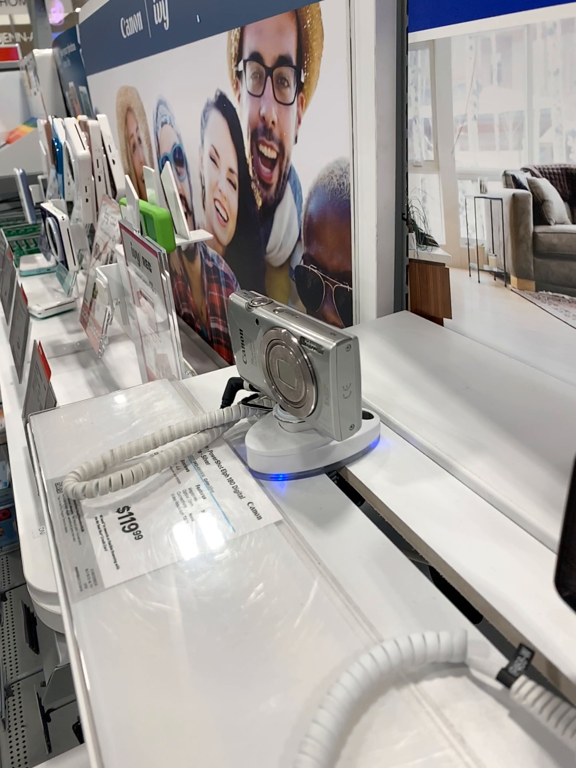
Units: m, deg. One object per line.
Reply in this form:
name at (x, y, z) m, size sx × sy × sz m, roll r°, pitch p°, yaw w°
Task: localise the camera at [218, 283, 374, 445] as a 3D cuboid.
camera at (0.001, -0.014, 0.309) m, size 0.022 × 0.051 × 0.099 m, roll -26°, pitch 34°, yaw -24°
